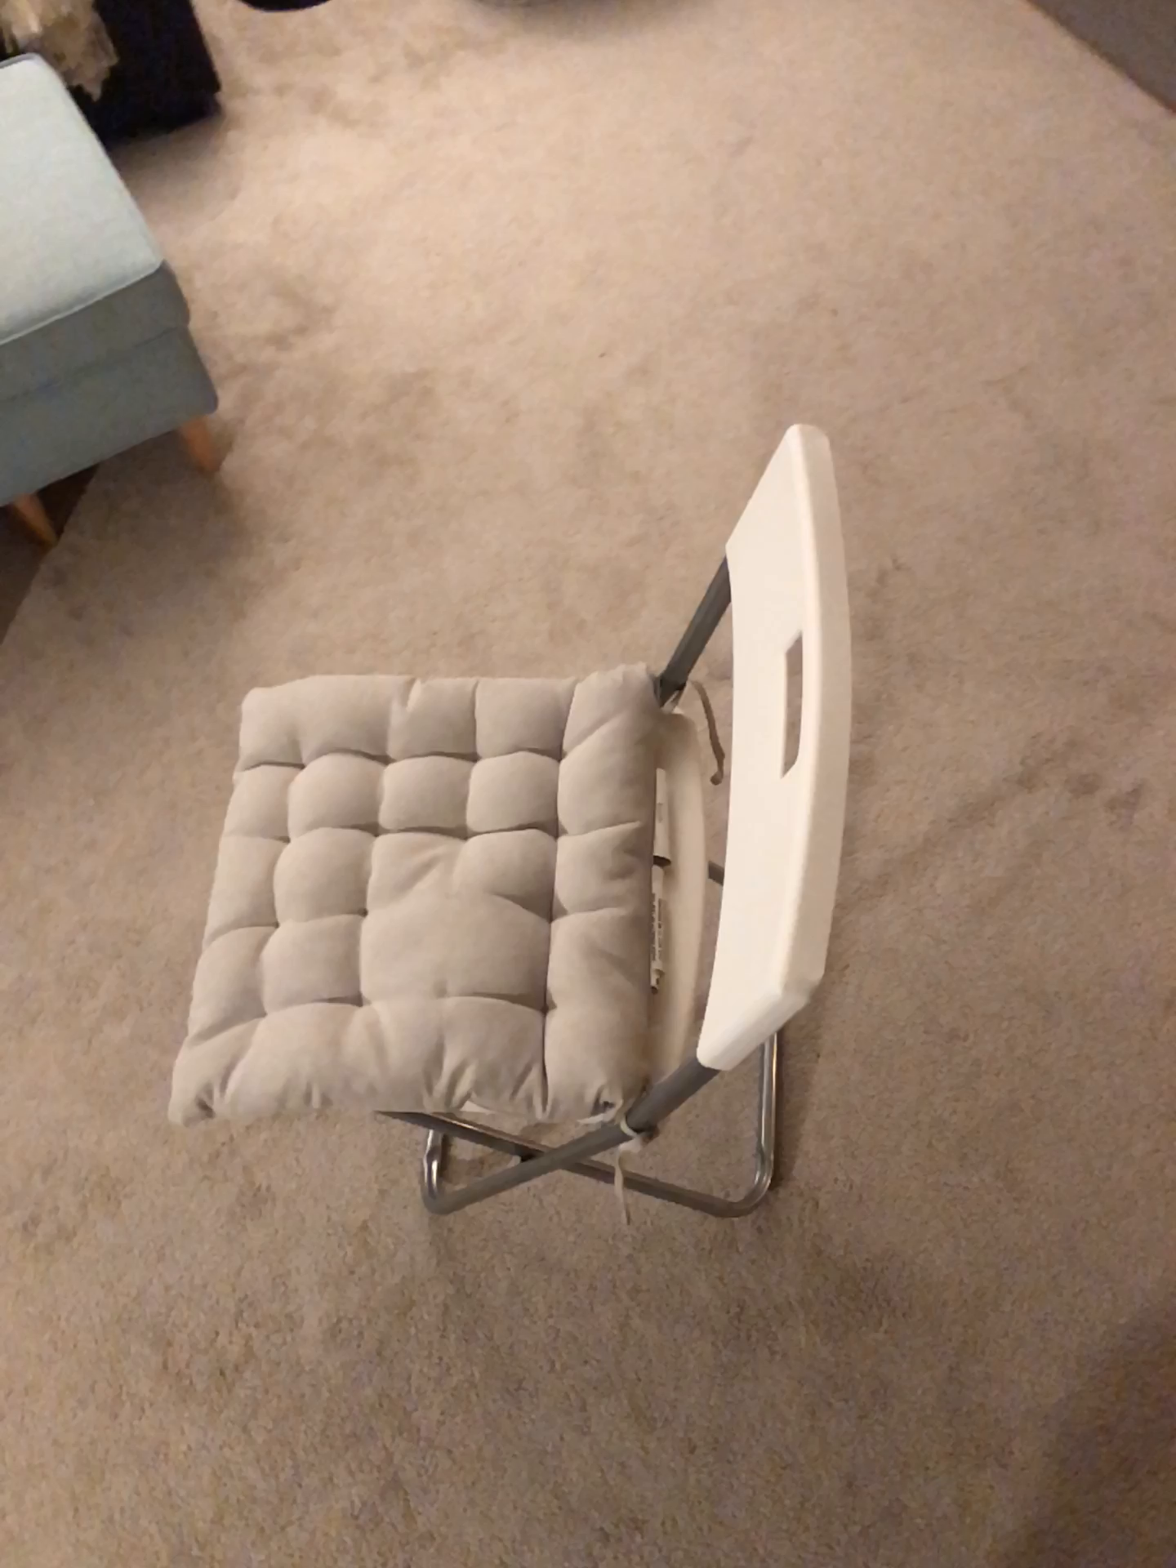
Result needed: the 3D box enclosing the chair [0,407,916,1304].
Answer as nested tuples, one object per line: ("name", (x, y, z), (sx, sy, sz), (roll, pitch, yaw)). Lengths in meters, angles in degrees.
("chair", (-0.039, 0.113, 1.123), (0.540, 0.668, 0.512), (1, 60, 8))
